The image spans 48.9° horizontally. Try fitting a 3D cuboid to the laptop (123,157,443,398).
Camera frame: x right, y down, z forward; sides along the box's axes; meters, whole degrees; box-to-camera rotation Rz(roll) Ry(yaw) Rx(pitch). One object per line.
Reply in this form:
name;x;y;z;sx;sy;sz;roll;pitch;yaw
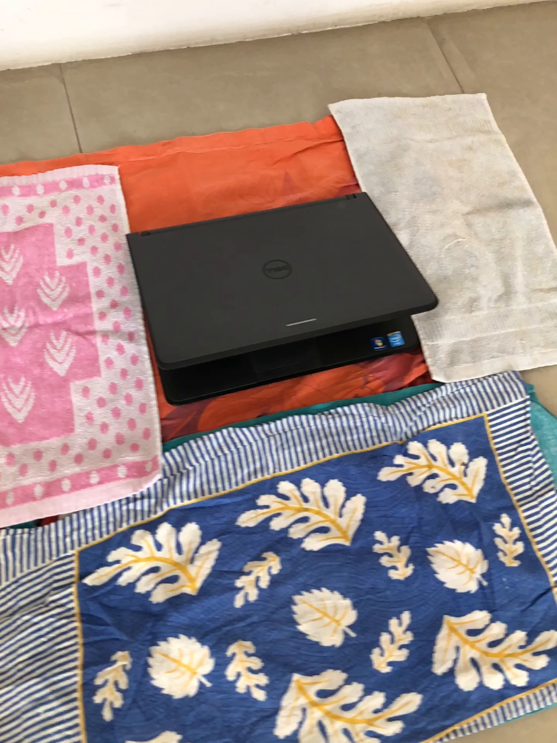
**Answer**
laptop;-0.002;-0.120;0.730;0.314;0.078;0.227;-13;67;-12
